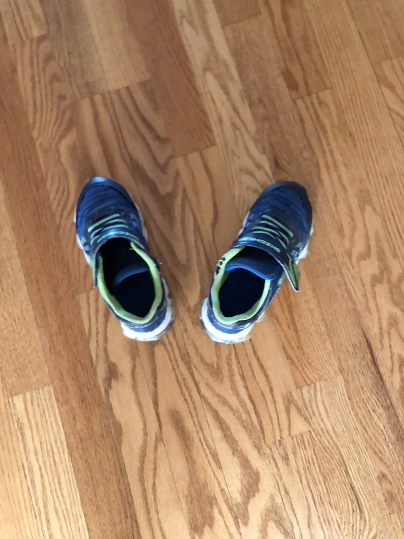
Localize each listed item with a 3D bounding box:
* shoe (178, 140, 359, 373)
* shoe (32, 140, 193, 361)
[{"bbox_3d":[0.068,-0.011,0.482,0.093,0.087,0.212,27,84,5],"label":"shoe"},{"bbox_3d":[-0.092,-0.016,0.492,0.093,0.095,0.203,-21,82,-1],"label":"shoe"}]
